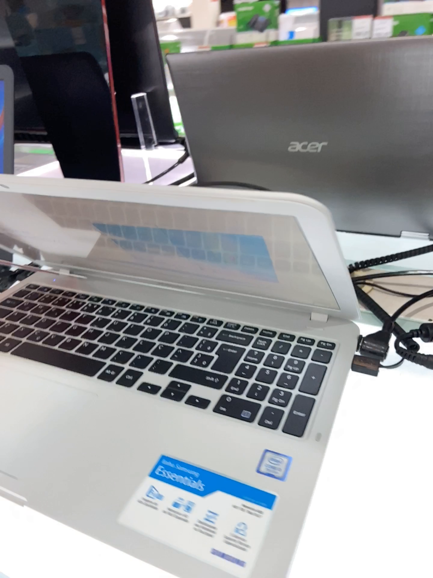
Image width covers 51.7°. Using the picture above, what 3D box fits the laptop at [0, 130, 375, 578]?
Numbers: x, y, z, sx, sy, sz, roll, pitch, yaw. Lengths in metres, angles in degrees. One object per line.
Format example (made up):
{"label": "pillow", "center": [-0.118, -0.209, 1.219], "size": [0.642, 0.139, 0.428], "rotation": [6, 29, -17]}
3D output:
{"label": "laptop", "center": [-0.100, -0.008, 0.329], "size": [0.367, 0.162, 0.233], "rotation": [9, 32, 24]}
